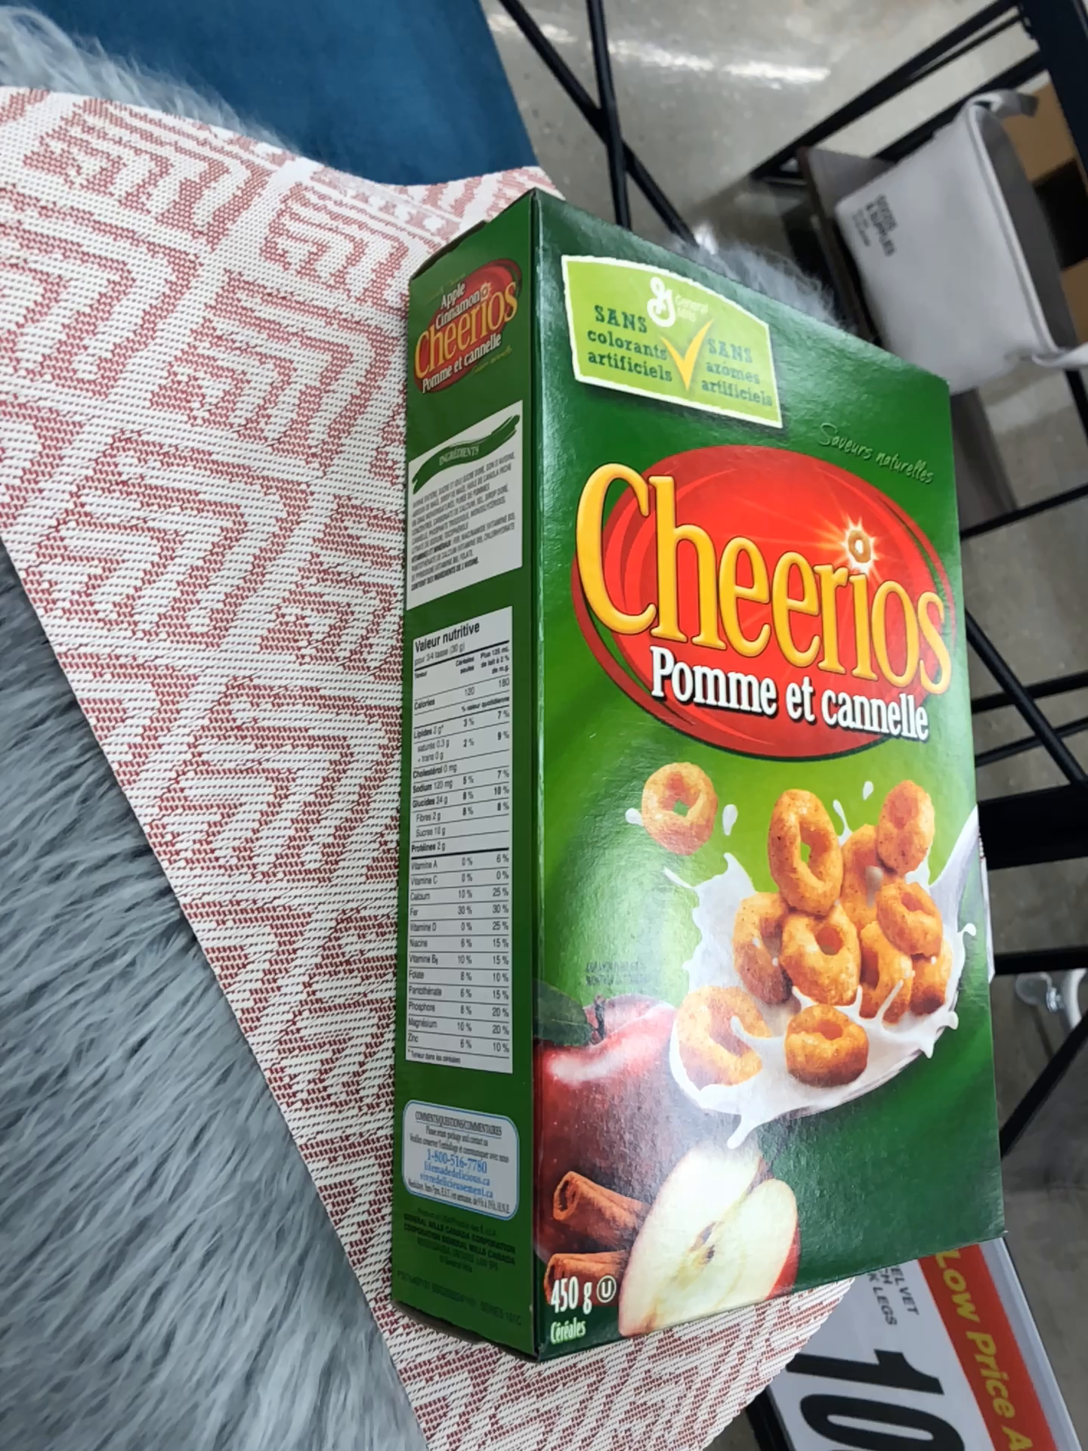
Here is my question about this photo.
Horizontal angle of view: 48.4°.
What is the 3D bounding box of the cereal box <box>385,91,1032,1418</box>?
[{"bbox_3d":[0.061,0.009,0.377,0.211,0.070,0.310,7,79,-42],"label":"cereal box"}]
